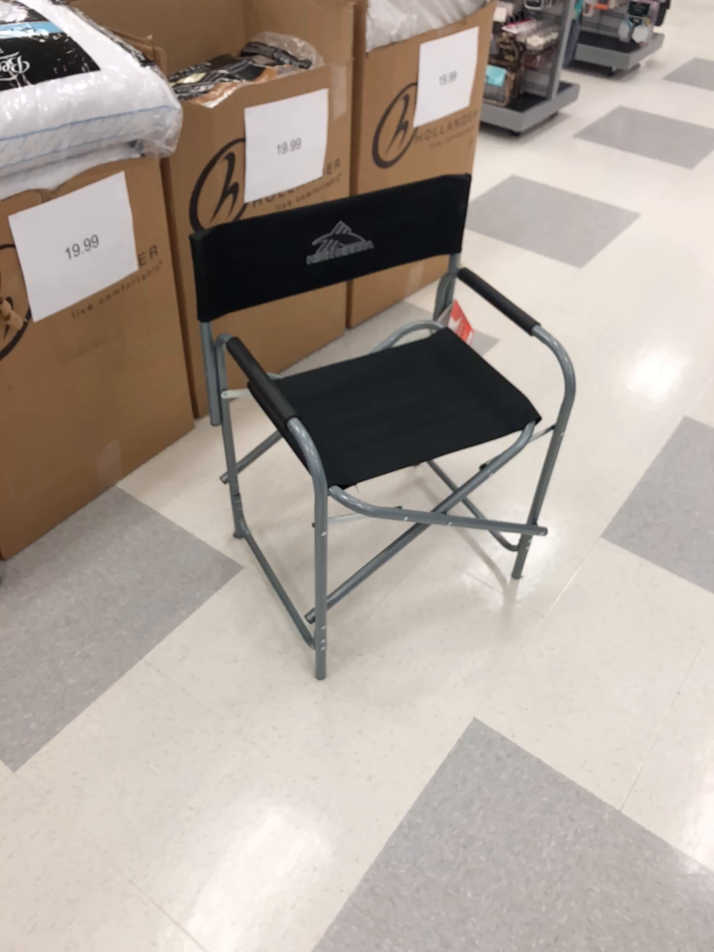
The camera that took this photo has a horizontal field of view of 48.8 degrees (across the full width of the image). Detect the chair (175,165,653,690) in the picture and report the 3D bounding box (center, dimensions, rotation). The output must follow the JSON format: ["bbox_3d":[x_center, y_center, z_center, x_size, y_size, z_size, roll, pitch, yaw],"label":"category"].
[{"bbox_3d":[0.074,-0.106,1.556,0.626,0.736,0.499,-21,48,-24],"label":"chair"}]
